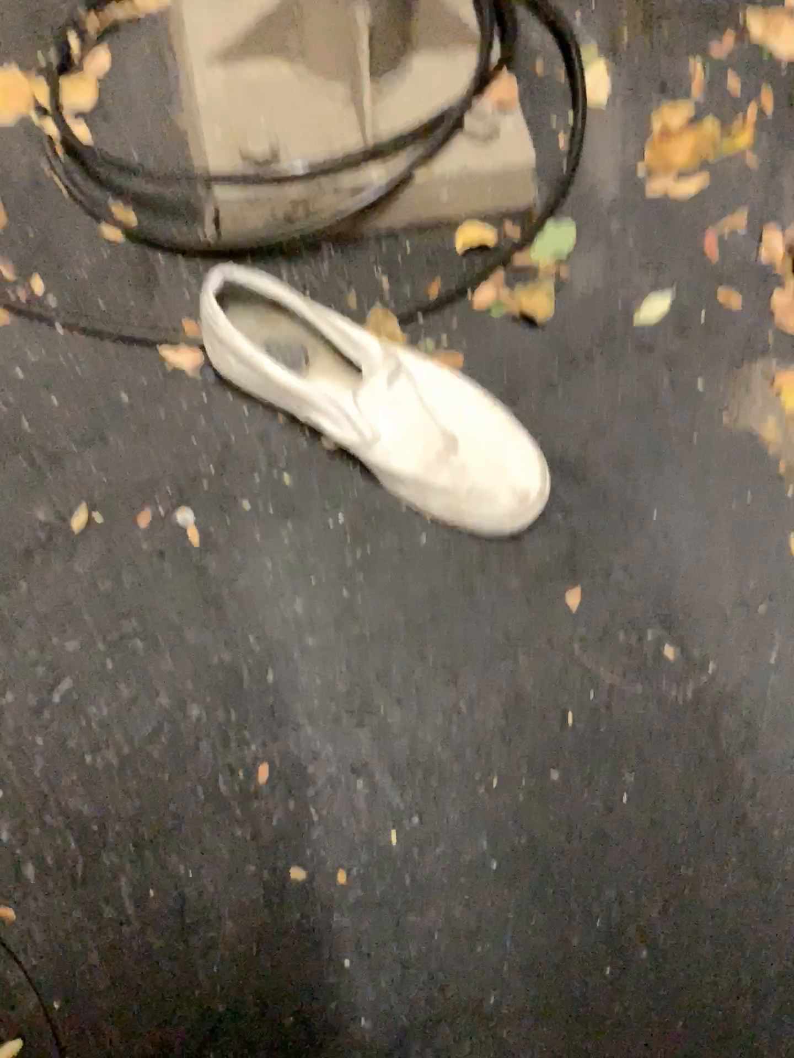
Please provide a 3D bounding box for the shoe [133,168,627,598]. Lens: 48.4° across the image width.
[{"bbox_3d":[-0.016,-0.101,0.620,0.310,0.100,0.120,35,70,8],"label":"shoe"}]
